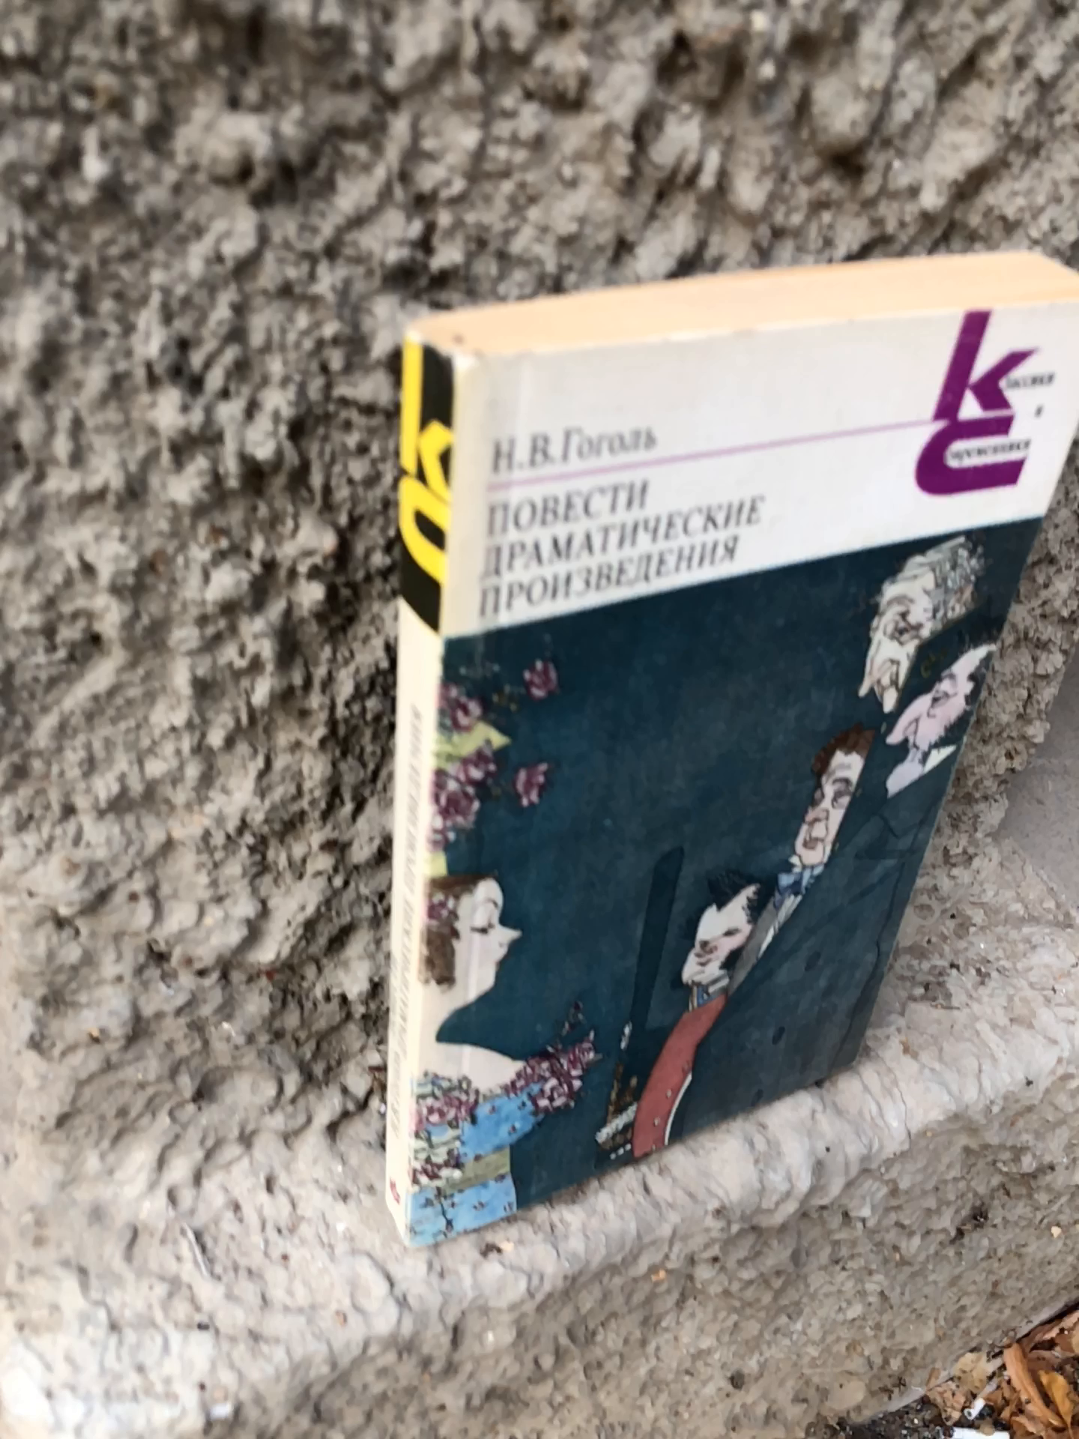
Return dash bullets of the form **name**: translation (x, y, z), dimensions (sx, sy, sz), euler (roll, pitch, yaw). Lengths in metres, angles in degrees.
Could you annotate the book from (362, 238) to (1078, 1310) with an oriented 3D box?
- **book**: translation (0.036, 0.013, 0.229), dimensions (0.138, 0.190, 0.030), euler (-15, 38, -29)
